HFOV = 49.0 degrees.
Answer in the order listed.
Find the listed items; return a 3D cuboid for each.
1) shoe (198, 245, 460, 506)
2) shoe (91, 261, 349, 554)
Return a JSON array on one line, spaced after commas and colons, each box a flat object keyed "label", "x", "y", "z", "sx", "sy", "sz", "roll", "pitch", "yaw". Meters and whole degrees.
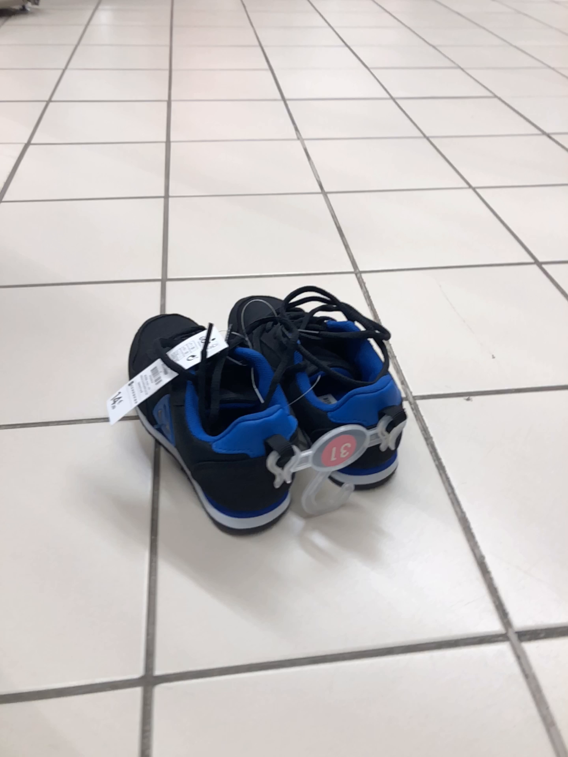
[{"label": "shoe", "x": 0.020, "y": -0.017, "z": 0.464, "sx": 0.085, "sy": 0.061, "sz": 0.217, "roll": -18, "pitch": 44, "yaw": -23}, {"label": "shoe", "x": -0.054, "y": 0.005, "z": 0.436, "sx": 0.085, "sy": 0.071, "sz": 0.212, "roll": -20, "pitch": 44, "yaw": -24}]
